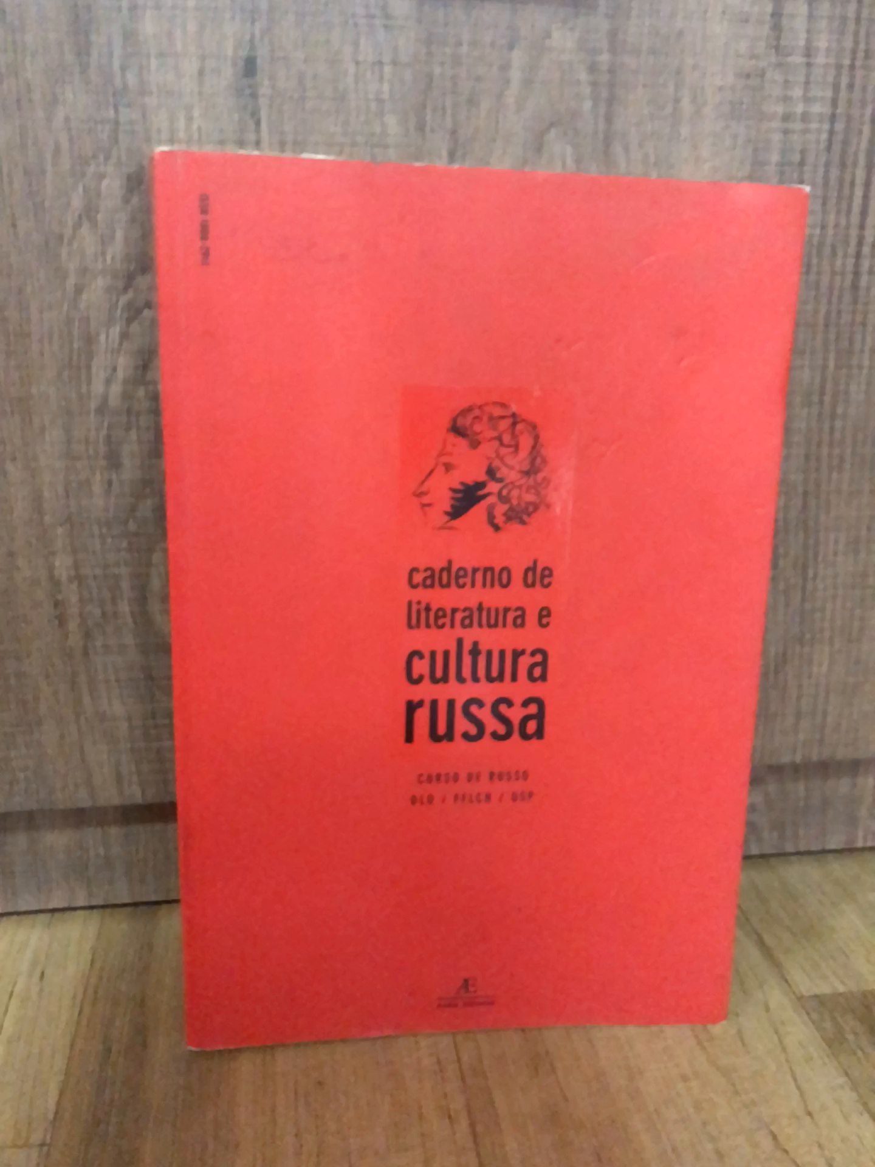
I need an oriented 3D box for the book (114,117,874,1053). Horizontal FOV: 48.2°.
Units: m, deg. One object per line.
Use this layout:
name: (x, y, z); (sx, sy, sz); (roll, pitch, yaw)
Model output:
book: (0.015, 0.009, 0.281); (0.187, 0.249, 0.040); (0, 14, -6)
